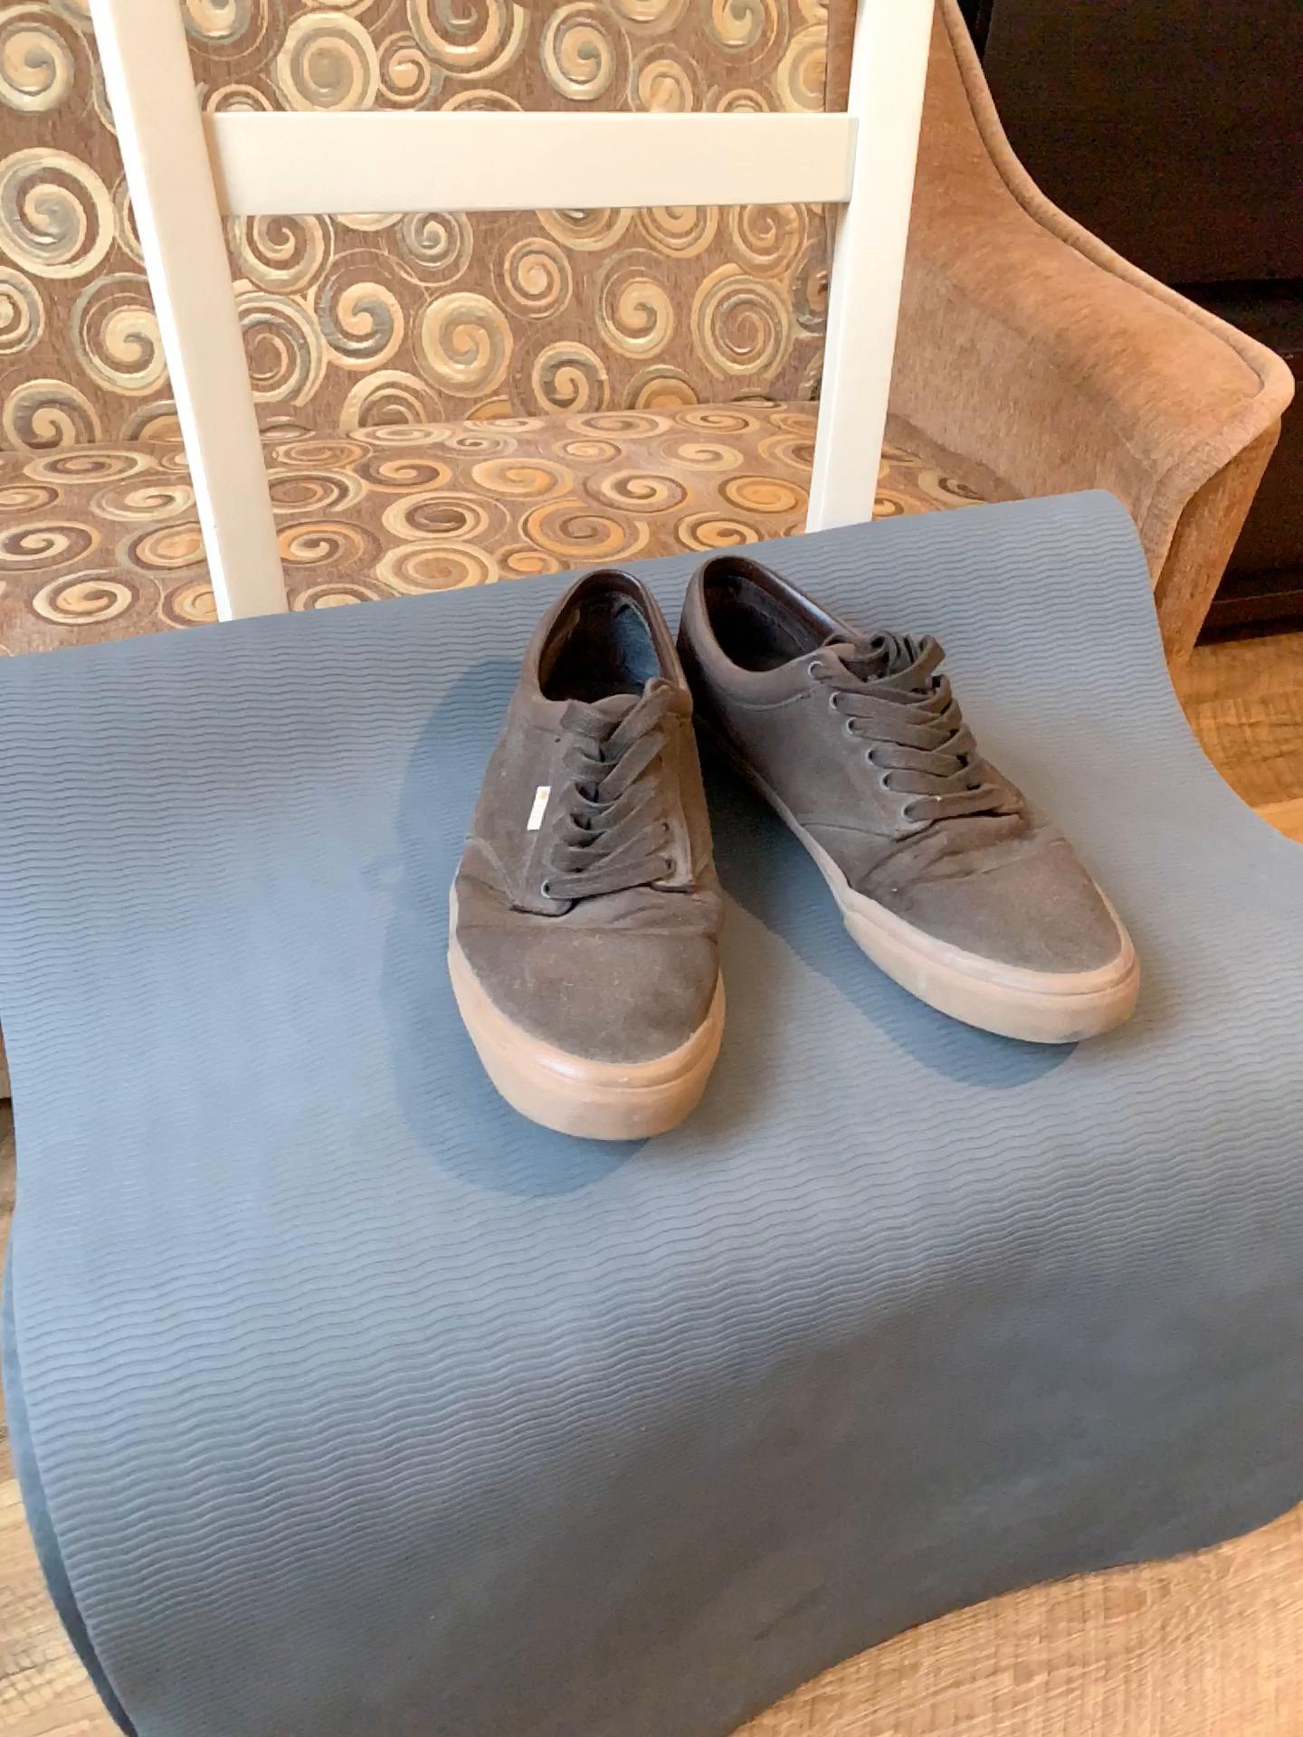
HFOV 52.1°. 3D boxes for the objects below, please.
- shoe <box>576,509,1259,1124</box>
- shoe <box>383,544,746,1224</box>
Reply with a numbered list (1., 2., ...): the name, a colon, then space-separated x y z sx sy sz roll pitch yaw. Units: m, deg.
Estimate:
1. shoe: 0.089 -0.046 0.586 0.110 0.080 0.321 -17 45 -24
2. shoe: -0.039 -0.020 0.560 0.110 0.080 0.342 0 40 -5
